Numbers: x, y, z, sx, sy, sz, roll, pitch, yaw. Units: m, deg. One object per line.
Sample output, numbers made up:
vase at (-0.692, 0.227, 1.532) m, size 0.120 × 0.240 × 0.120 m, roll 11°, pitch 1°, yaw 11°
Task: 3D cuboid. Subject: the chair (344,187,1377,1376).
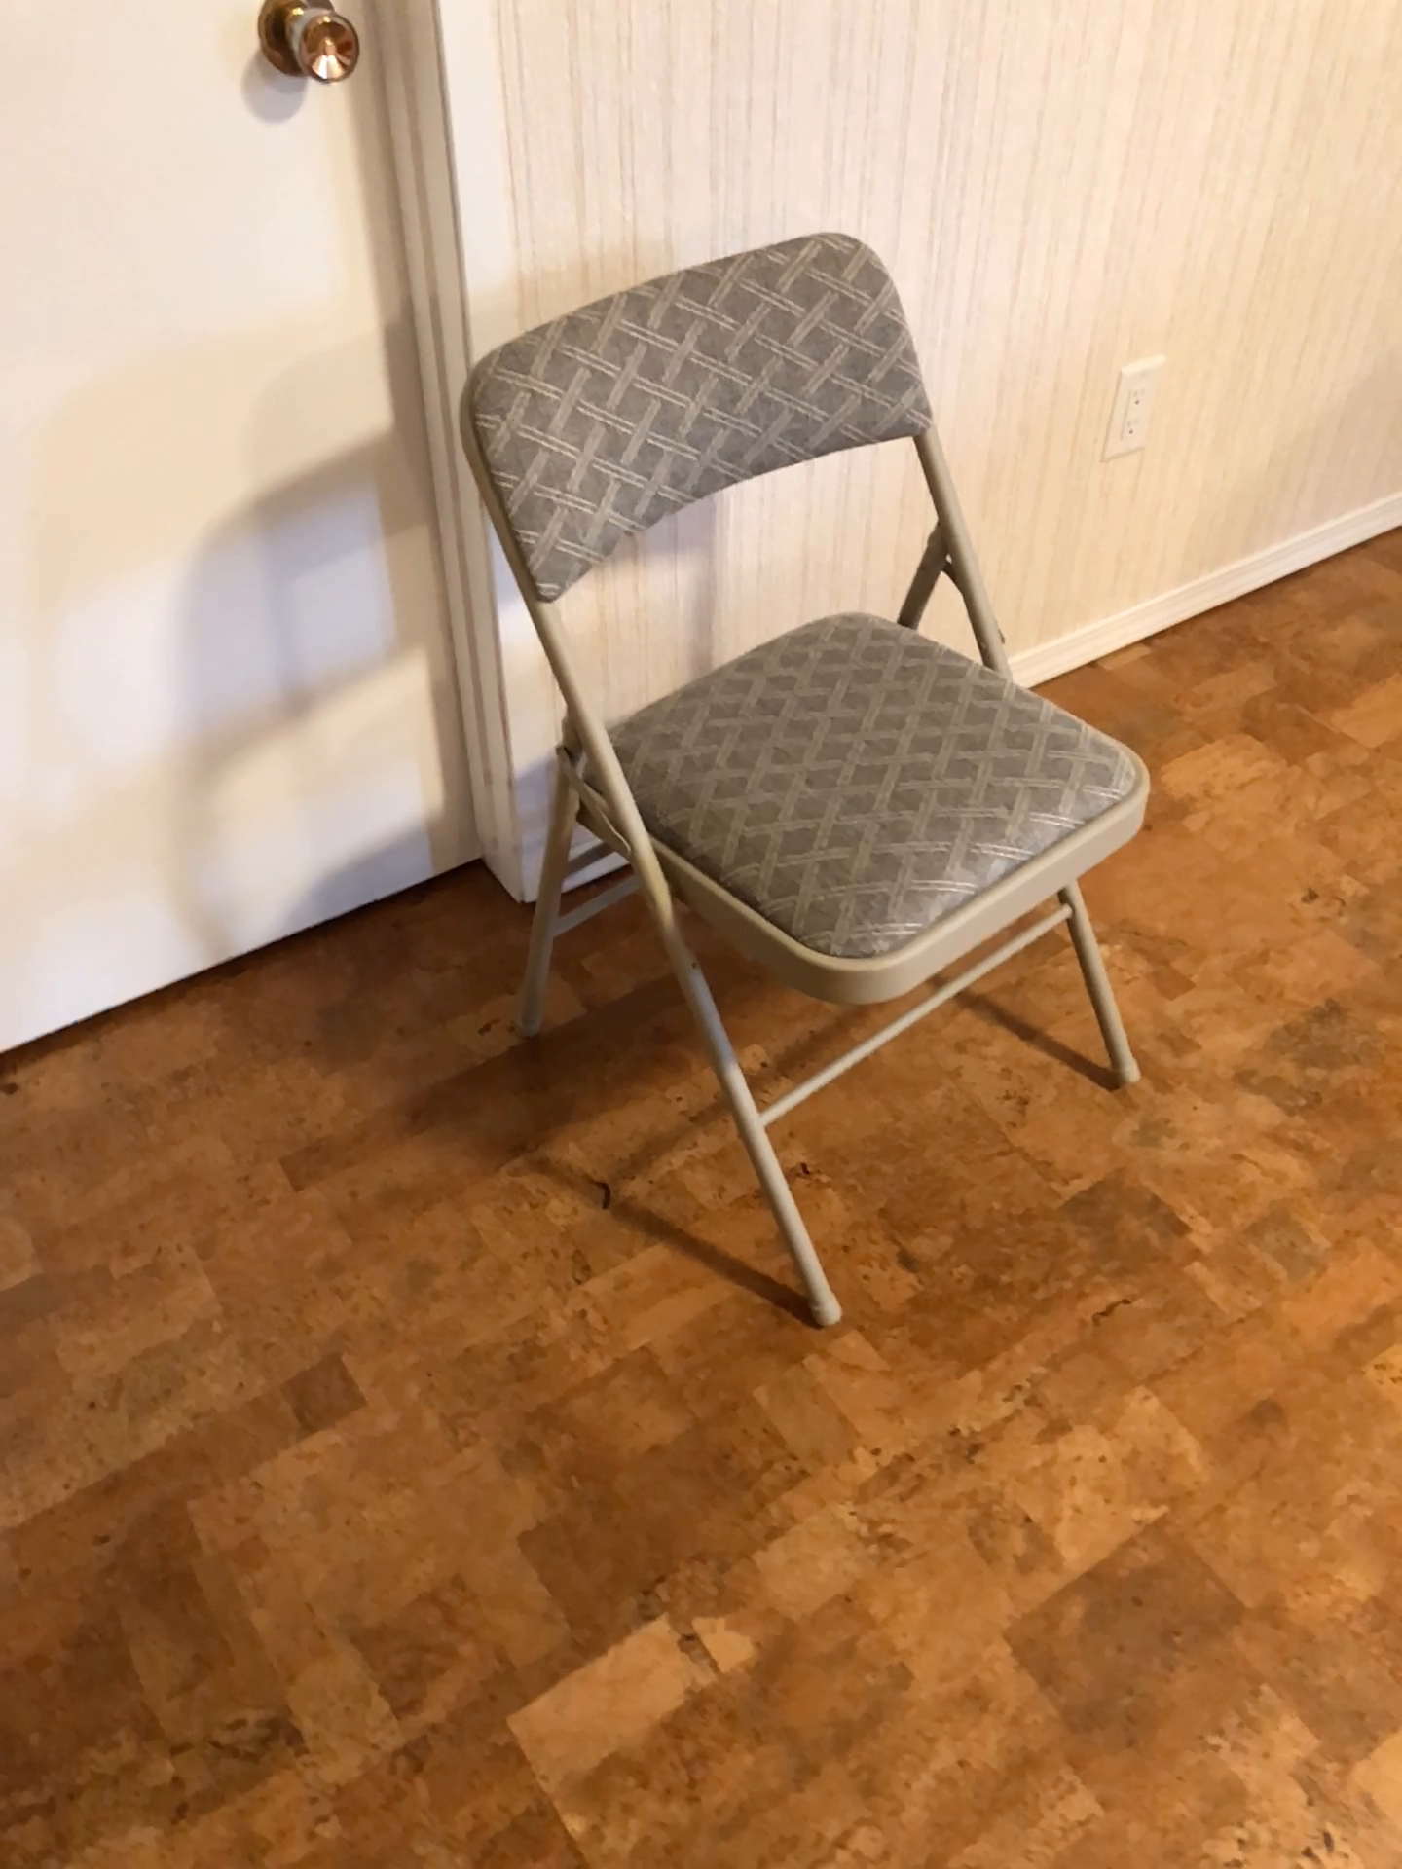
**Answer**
chair at (0.101, -0.137, 1.373) m, size 0.491 × 0.758 × 0.561 m, roll -31°, pitch 53°, yaw -28°
